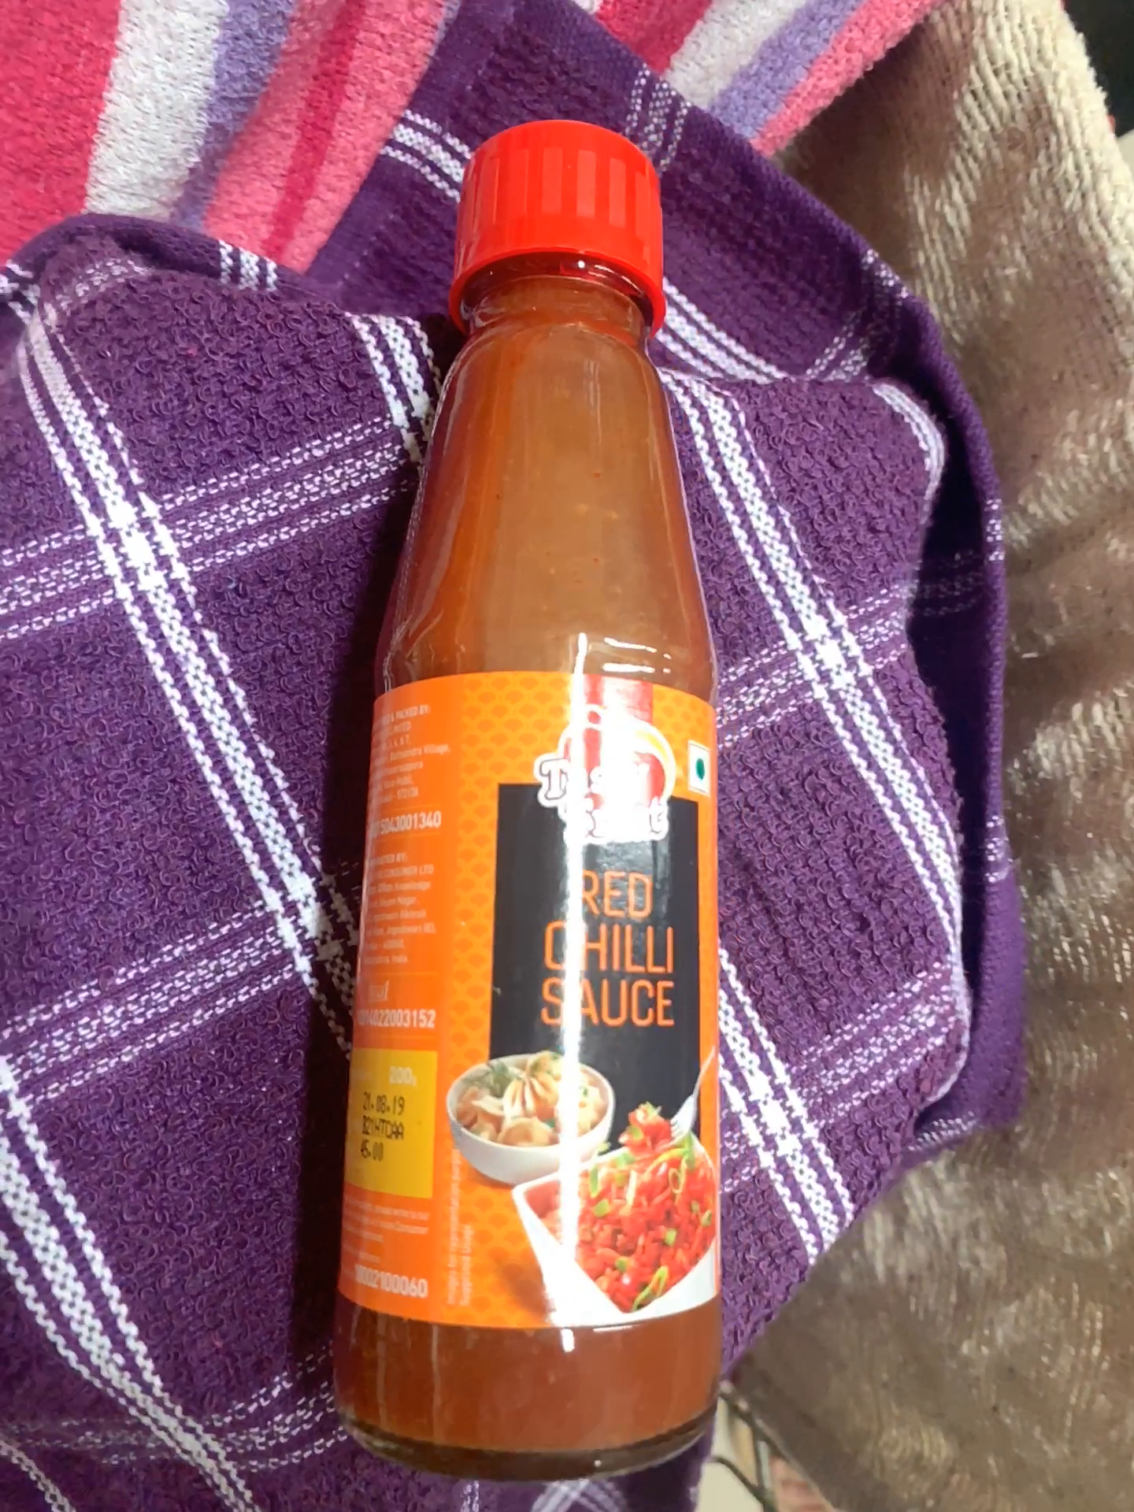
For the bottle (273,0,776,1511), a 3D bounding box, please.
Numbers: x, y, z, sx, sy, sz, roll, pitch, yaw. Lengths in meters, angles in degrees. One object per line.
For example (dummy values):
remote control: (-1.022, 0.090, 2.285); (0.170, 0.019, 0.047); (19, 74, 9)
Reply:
bottle: (-0.006, -0.012, 0.151); (0.050, 0.040, 0.180); (3, 81, -16)
